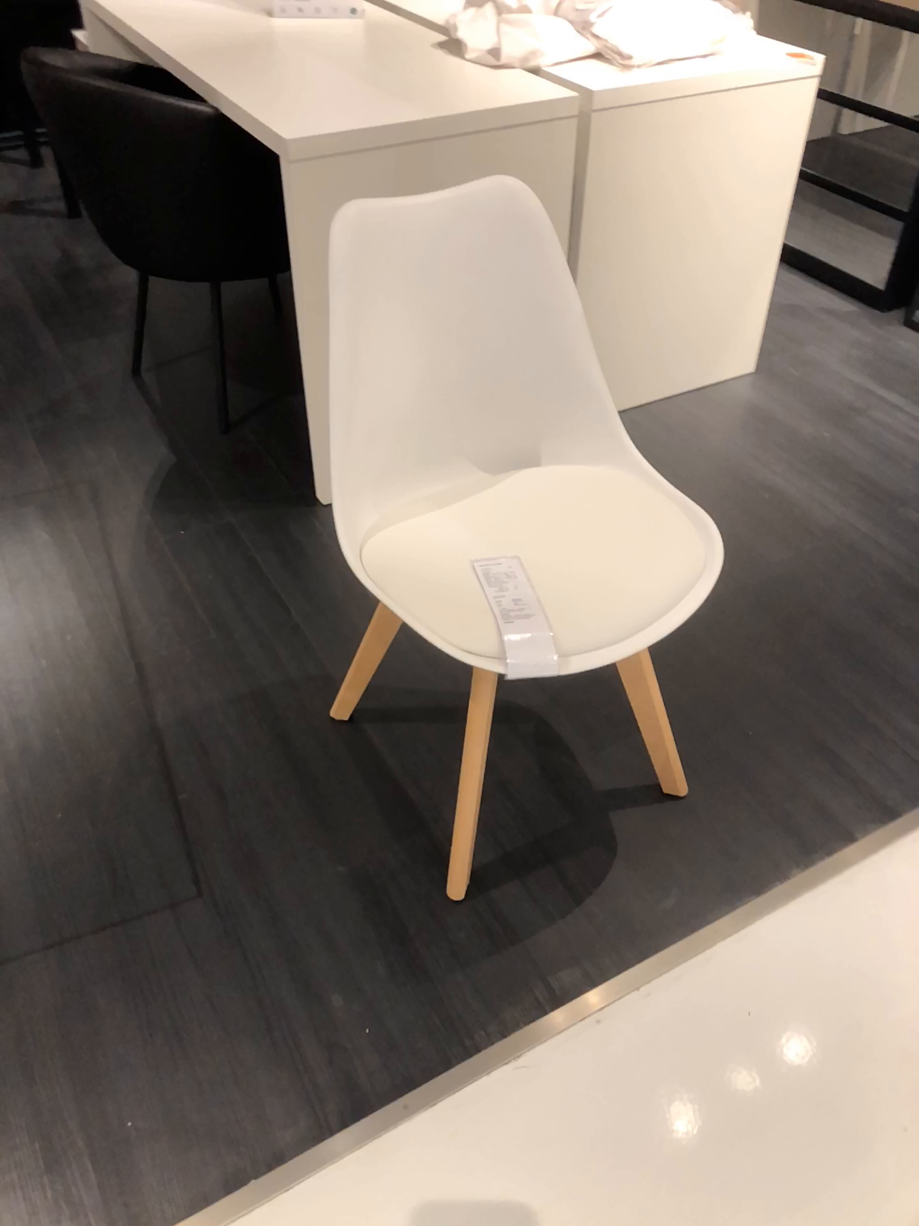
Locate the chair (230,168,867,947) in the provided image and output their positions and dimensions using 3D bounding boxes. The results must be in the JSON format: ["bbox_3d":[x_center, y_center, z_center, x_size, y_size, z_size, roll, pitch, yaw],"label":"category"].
[{"bbox_3d":[0.063,-0.085,1.356,0.501,0.784,0.533,-17,43,-21],"label":"chair"}]
